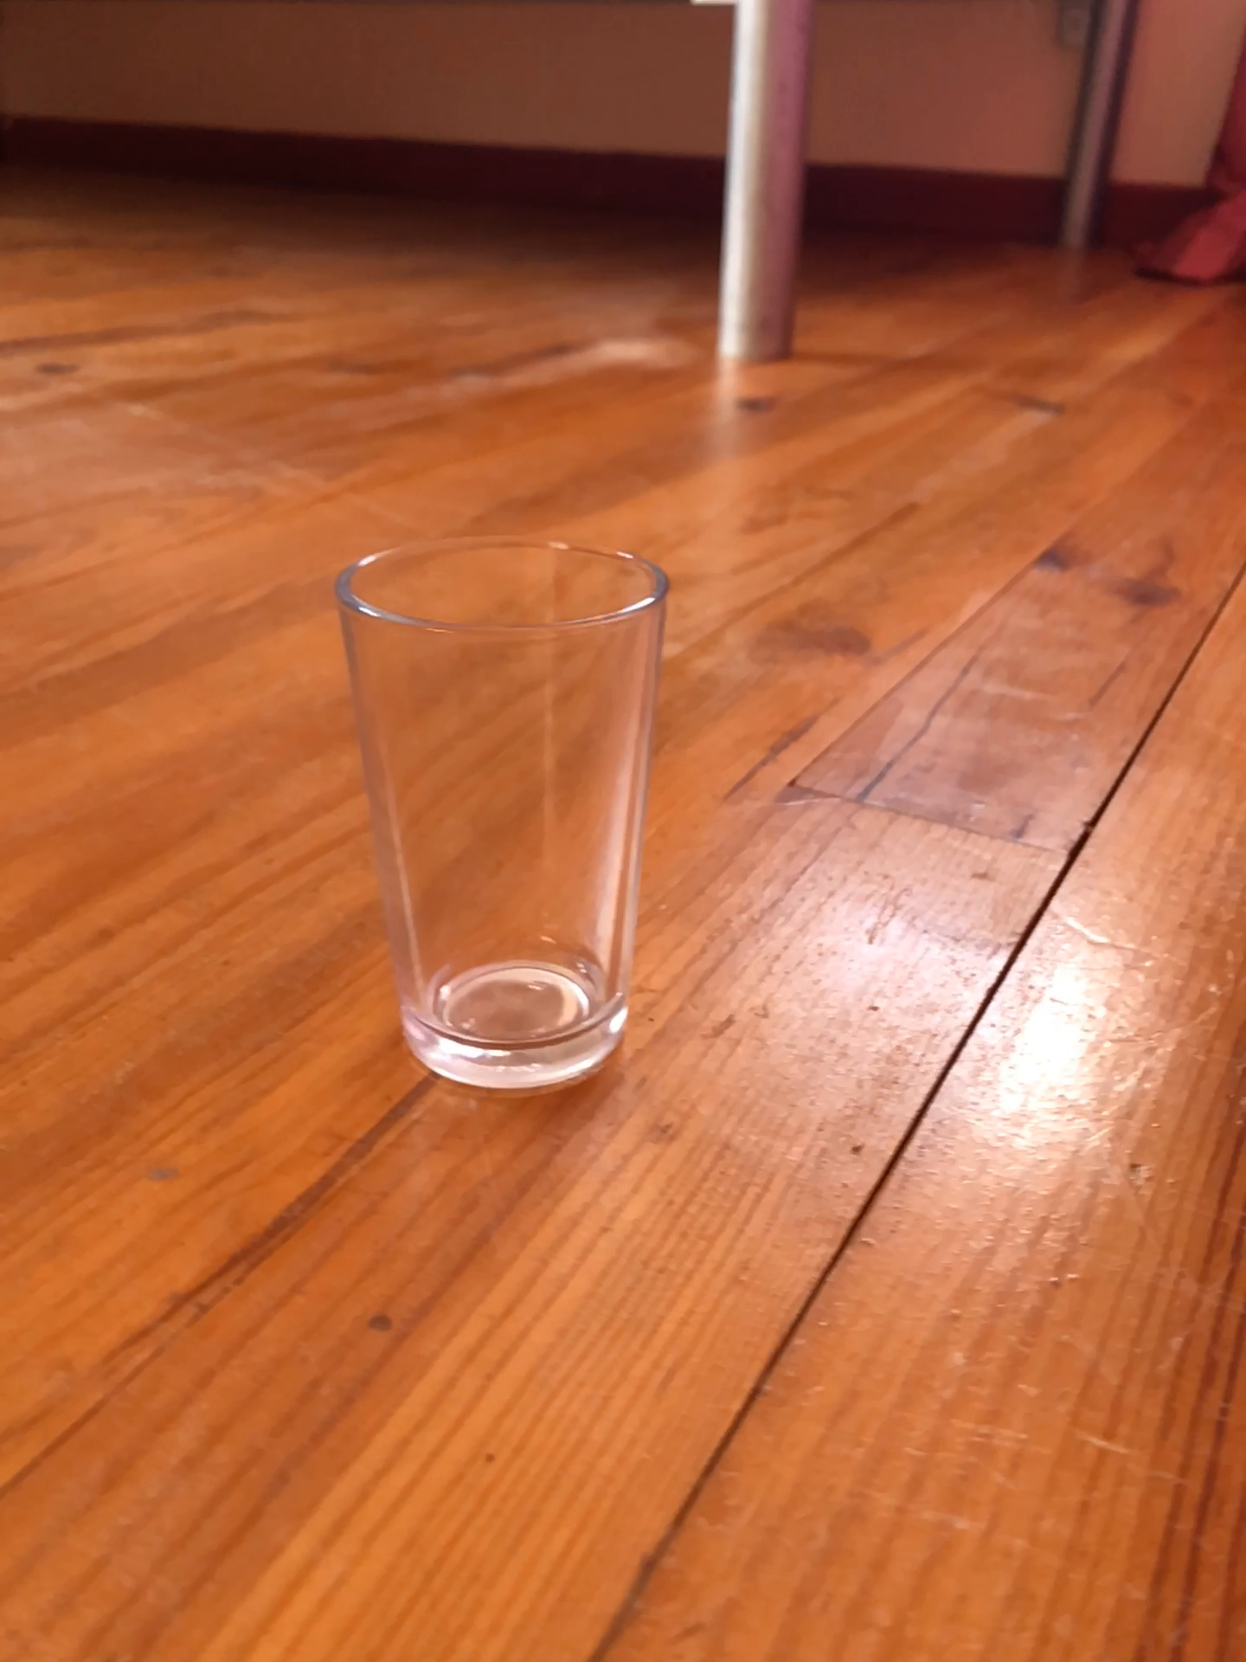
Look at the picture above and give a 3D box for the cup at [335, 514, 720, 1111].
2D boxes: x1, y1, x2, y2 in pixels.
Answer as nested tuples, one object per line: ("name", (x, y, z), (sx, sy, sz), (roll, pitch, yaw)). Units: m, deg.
("cup", (-0.018, -0.006, 0.229), (0.051, 0.079, 0.055), (2, 26, -1))
